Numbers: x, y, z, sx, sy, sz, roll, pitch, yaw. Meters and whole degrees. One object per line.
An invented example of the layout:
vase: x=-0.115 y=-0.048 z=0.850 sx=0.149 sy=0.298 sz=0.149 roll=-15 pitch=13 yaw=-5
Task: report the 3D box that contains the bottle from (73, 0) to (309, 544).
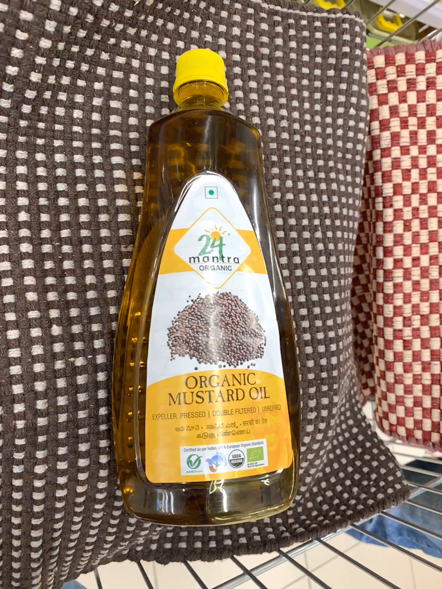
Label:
bottle: x=-0.018 y=-0.019 z=0.239 sx=0.110 sy=0.060 sz=0.250 roll=0 pitch=90 yaw=-16
